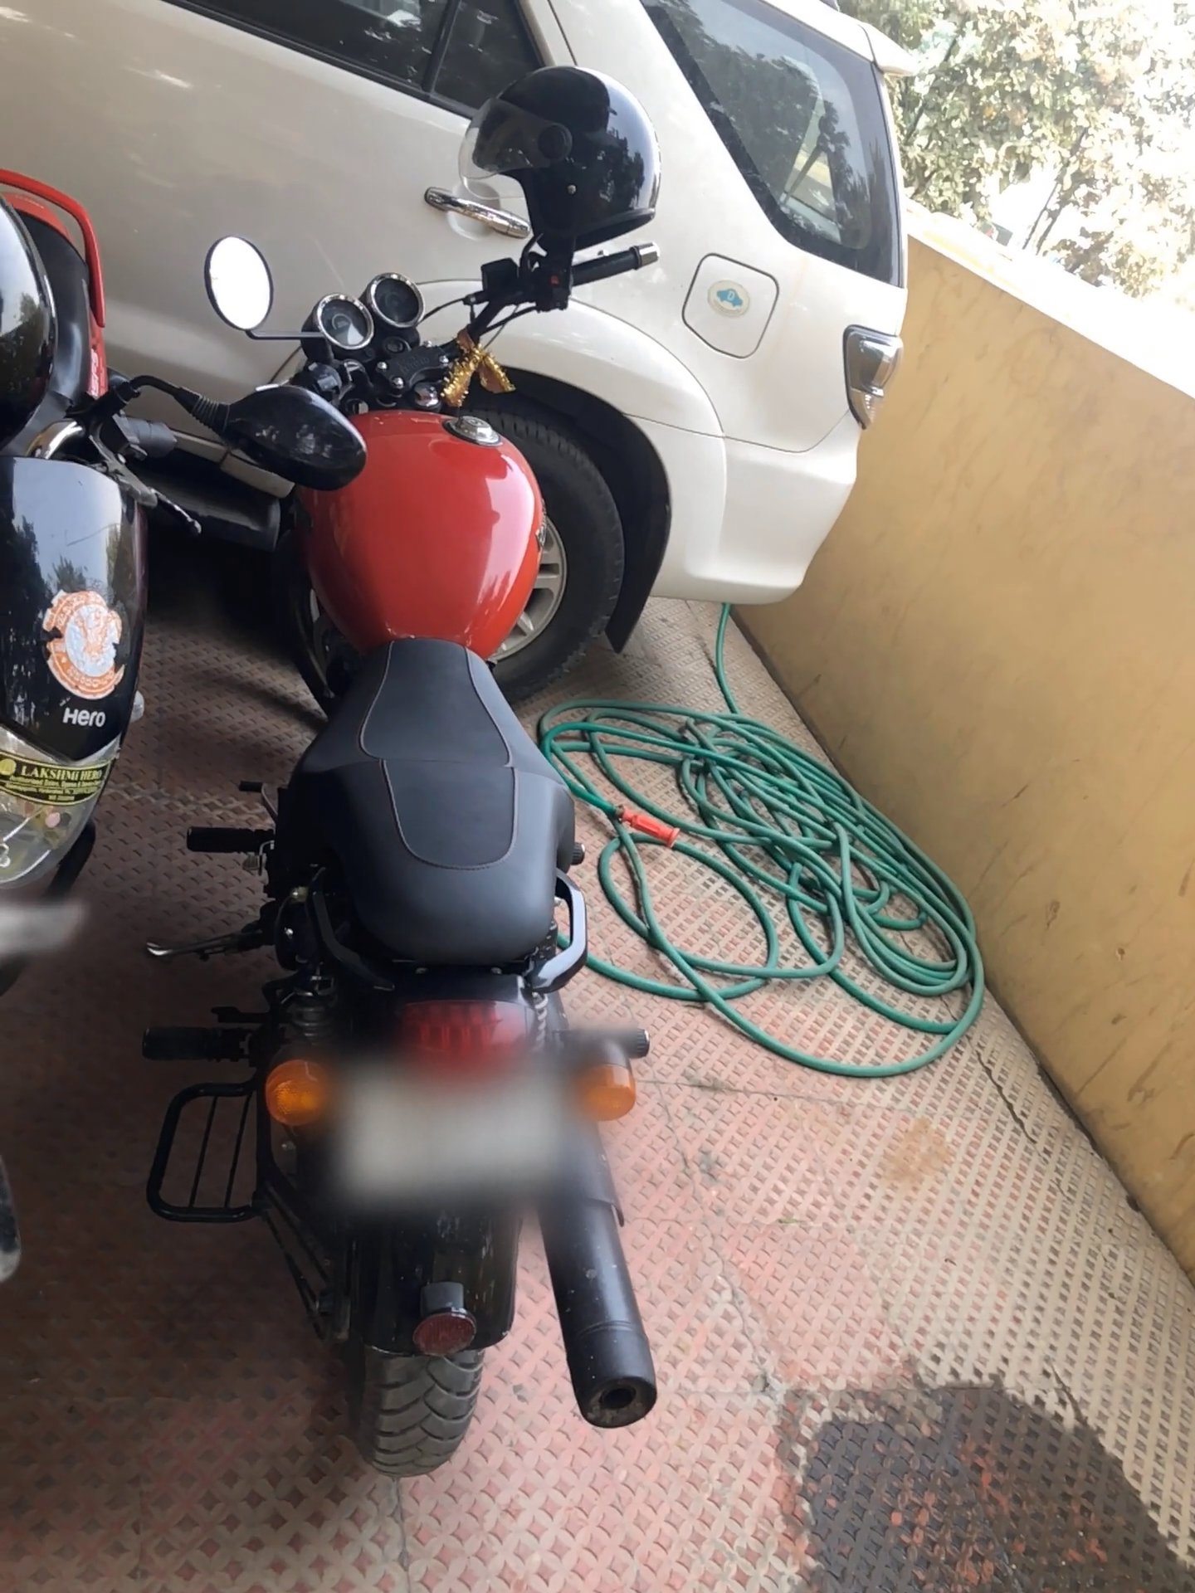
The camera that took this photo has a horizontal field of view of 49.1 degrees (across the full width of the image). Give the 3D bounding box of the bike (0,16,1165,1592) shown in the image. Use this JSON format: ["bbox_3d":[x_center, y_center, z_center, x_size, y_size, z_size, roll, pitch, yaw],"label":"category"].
[{"bbox_3d":[-0.387,-0.131,1.806,0.821,1.271,1.720,13,30,-24],"label":"bike"}]
